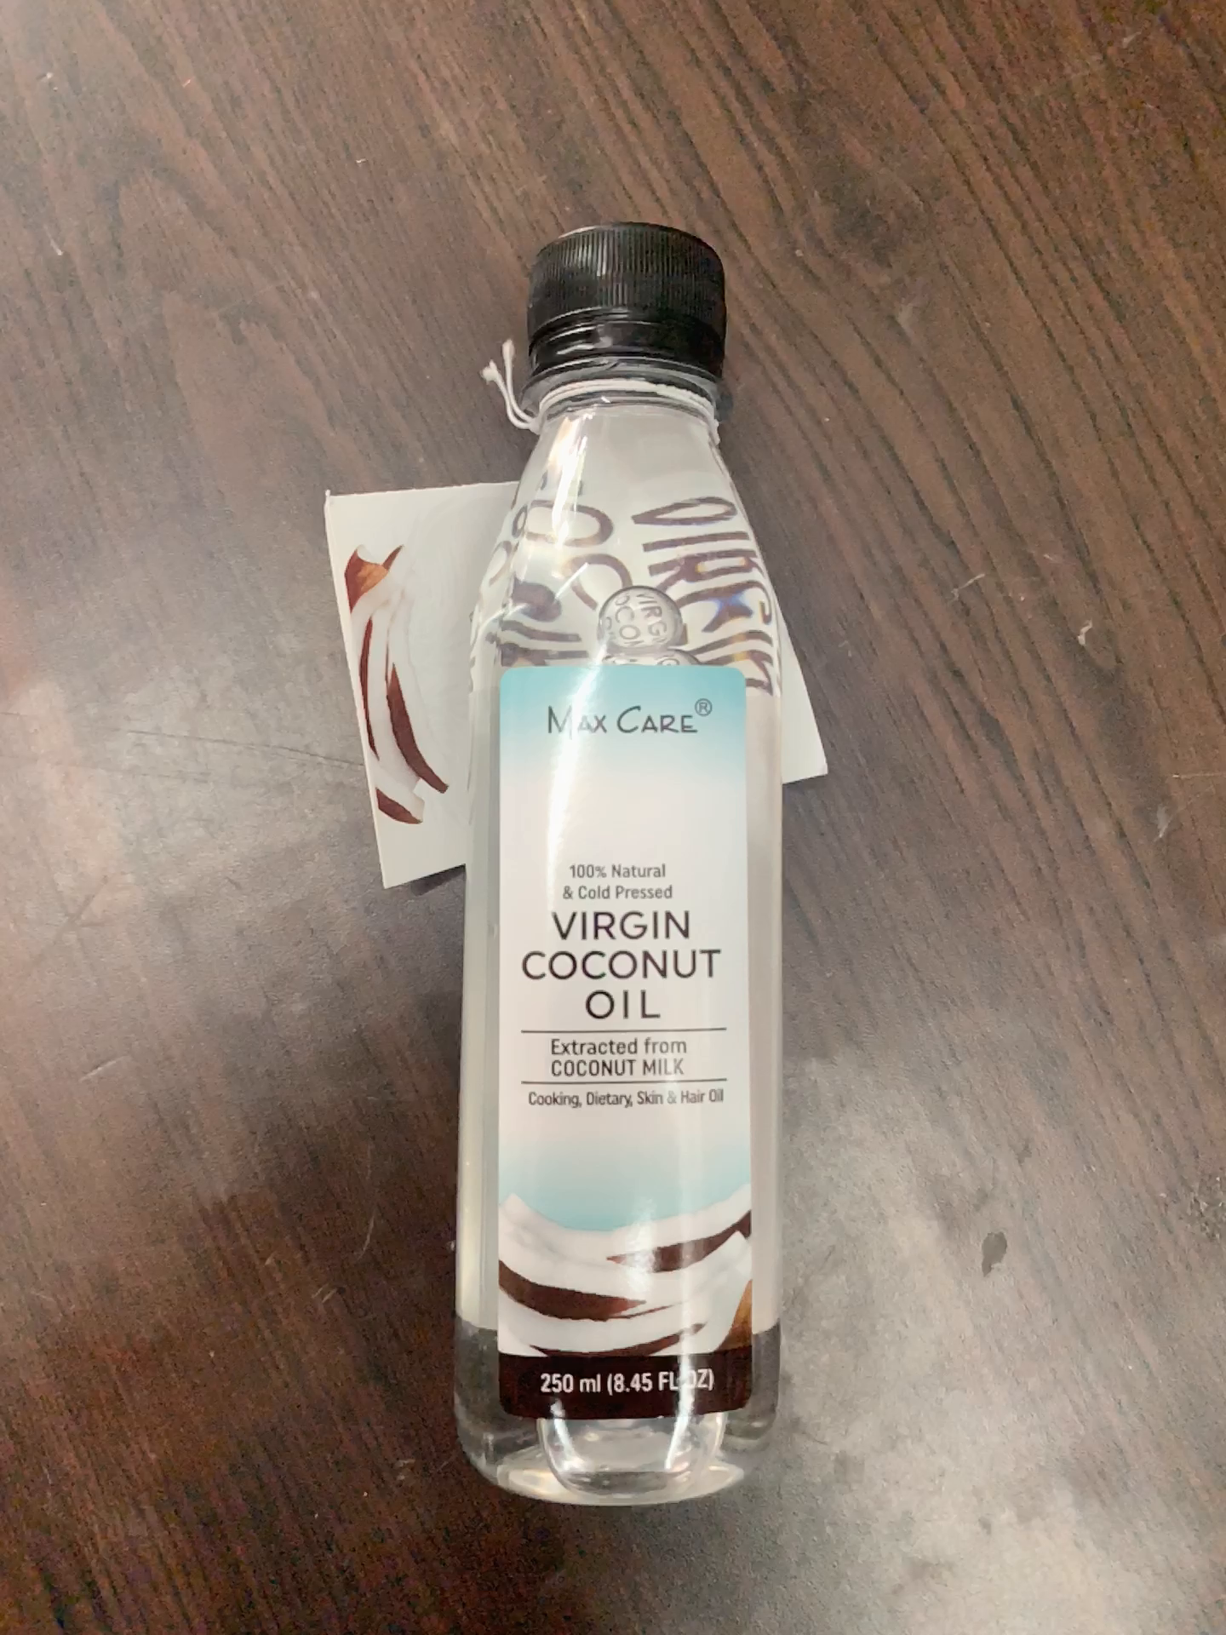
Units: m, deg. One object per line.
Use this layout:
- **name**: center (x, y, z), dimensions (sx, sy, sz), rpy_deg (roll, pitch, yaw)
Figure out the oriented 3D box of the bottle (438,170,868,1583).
- **bottle**: center (0.005, 0.006, 0.180), dimensions (0.050, 0.050, 0.170), rpy_deg (1, 85, -4)
